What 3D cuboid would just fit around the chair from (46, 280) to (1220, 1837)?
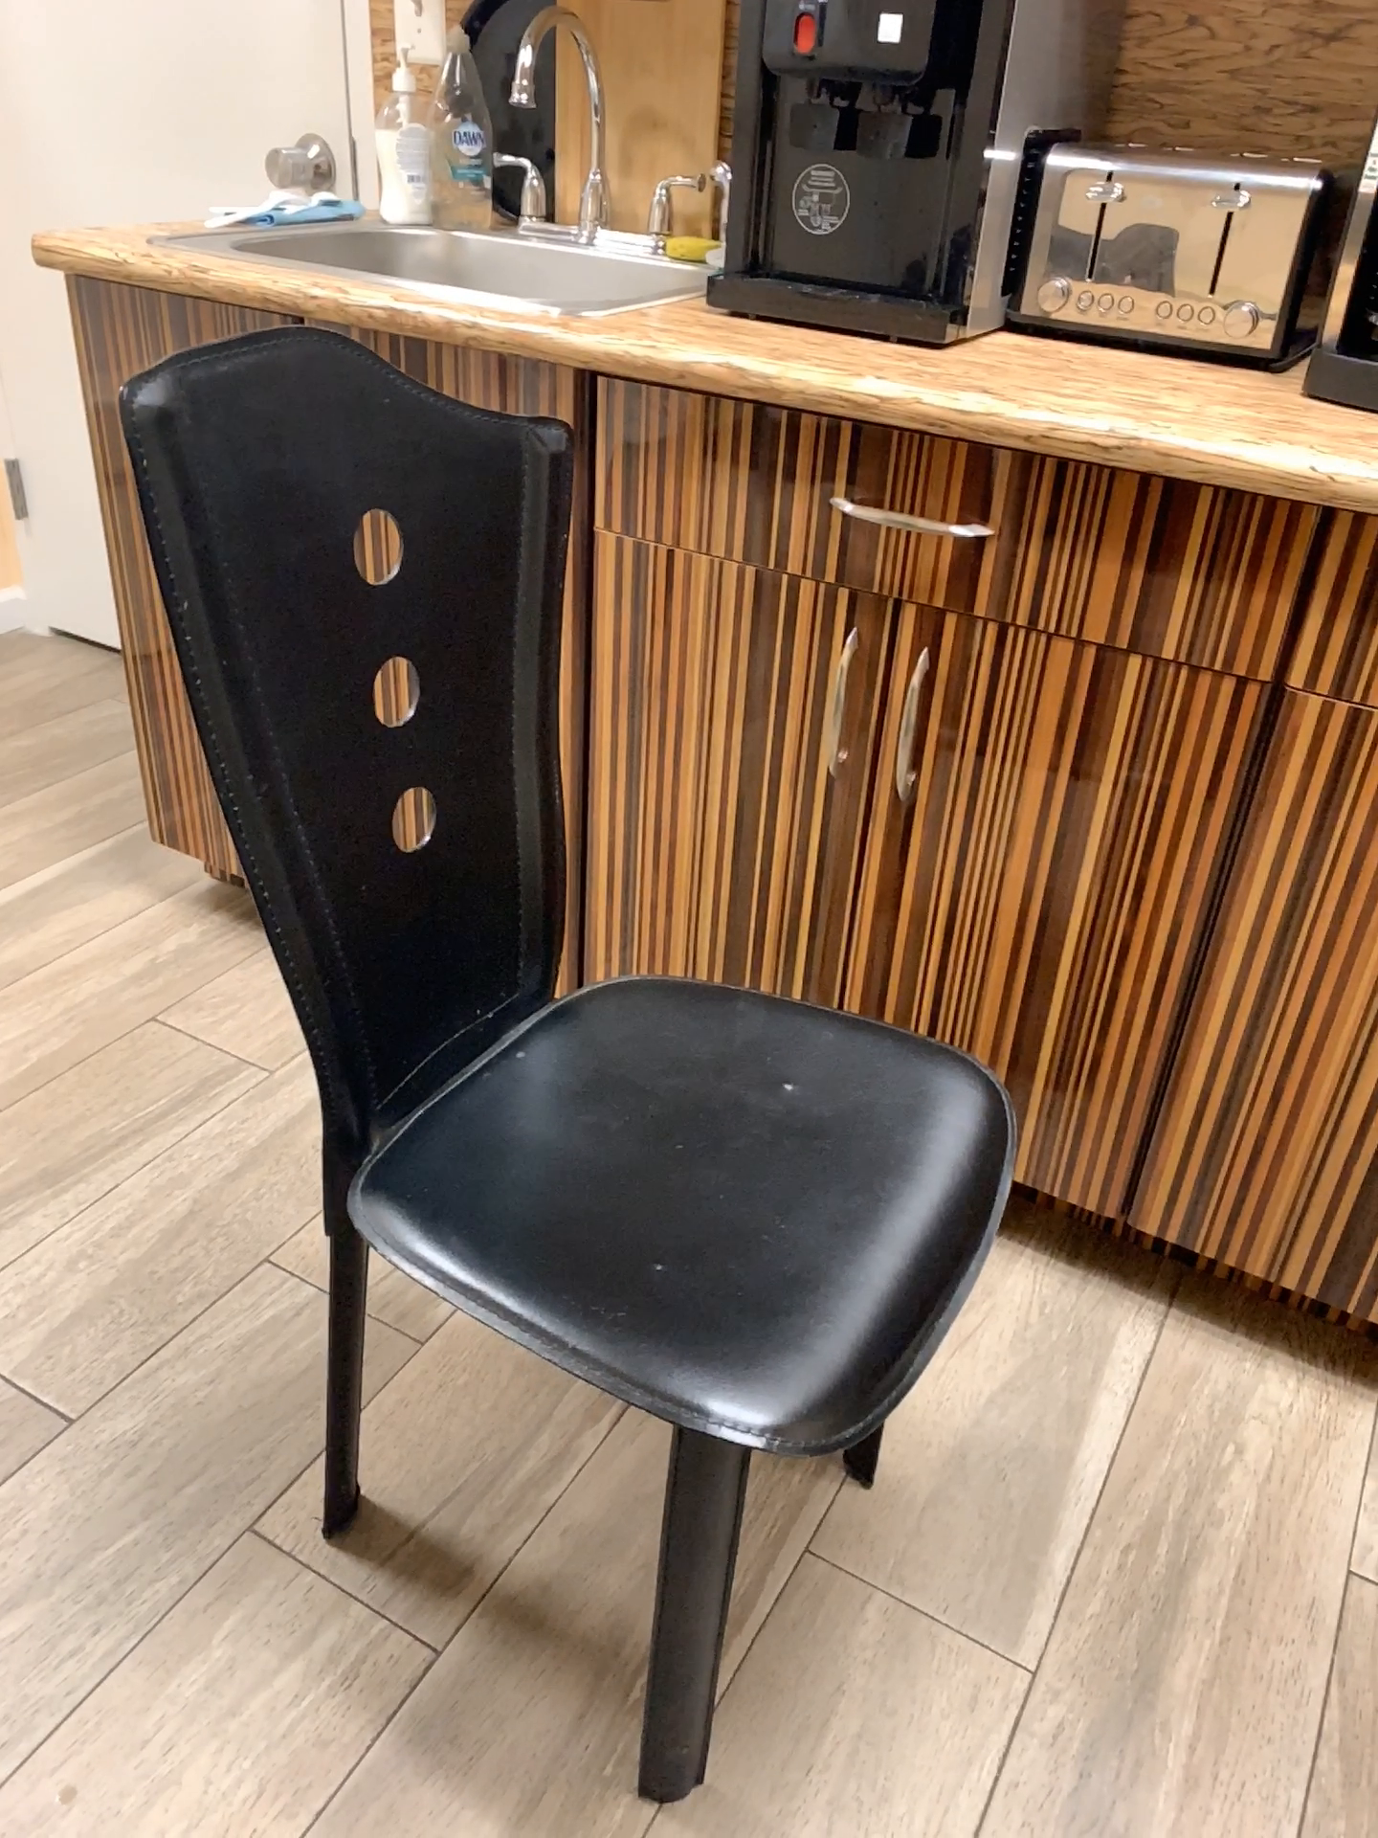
[{"bbox_3d":[-0.027,0.100,1.017,0.474,0.941,0.464,20,35,24],"label":"chair"}]
